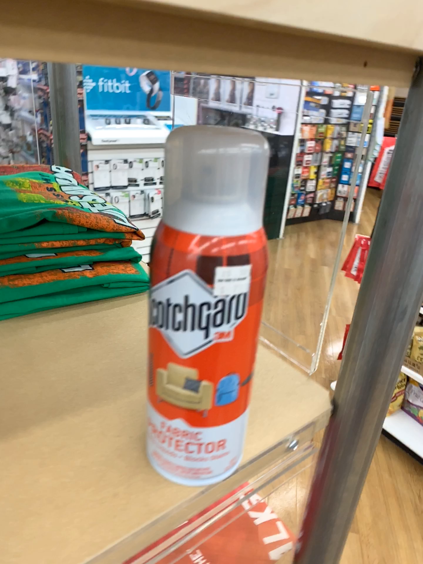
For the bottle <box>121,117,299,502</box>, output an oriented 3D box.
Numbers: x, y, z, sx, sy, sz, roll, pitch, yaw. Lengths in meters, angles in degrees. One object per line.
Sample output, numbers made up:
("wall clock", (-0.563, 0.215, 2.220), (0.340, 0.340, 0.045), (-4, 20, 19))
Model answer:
("bottle", (-0.004, 0.019, 0.252), (0.069, 0.205, 0.067), (4, 25, -2))
